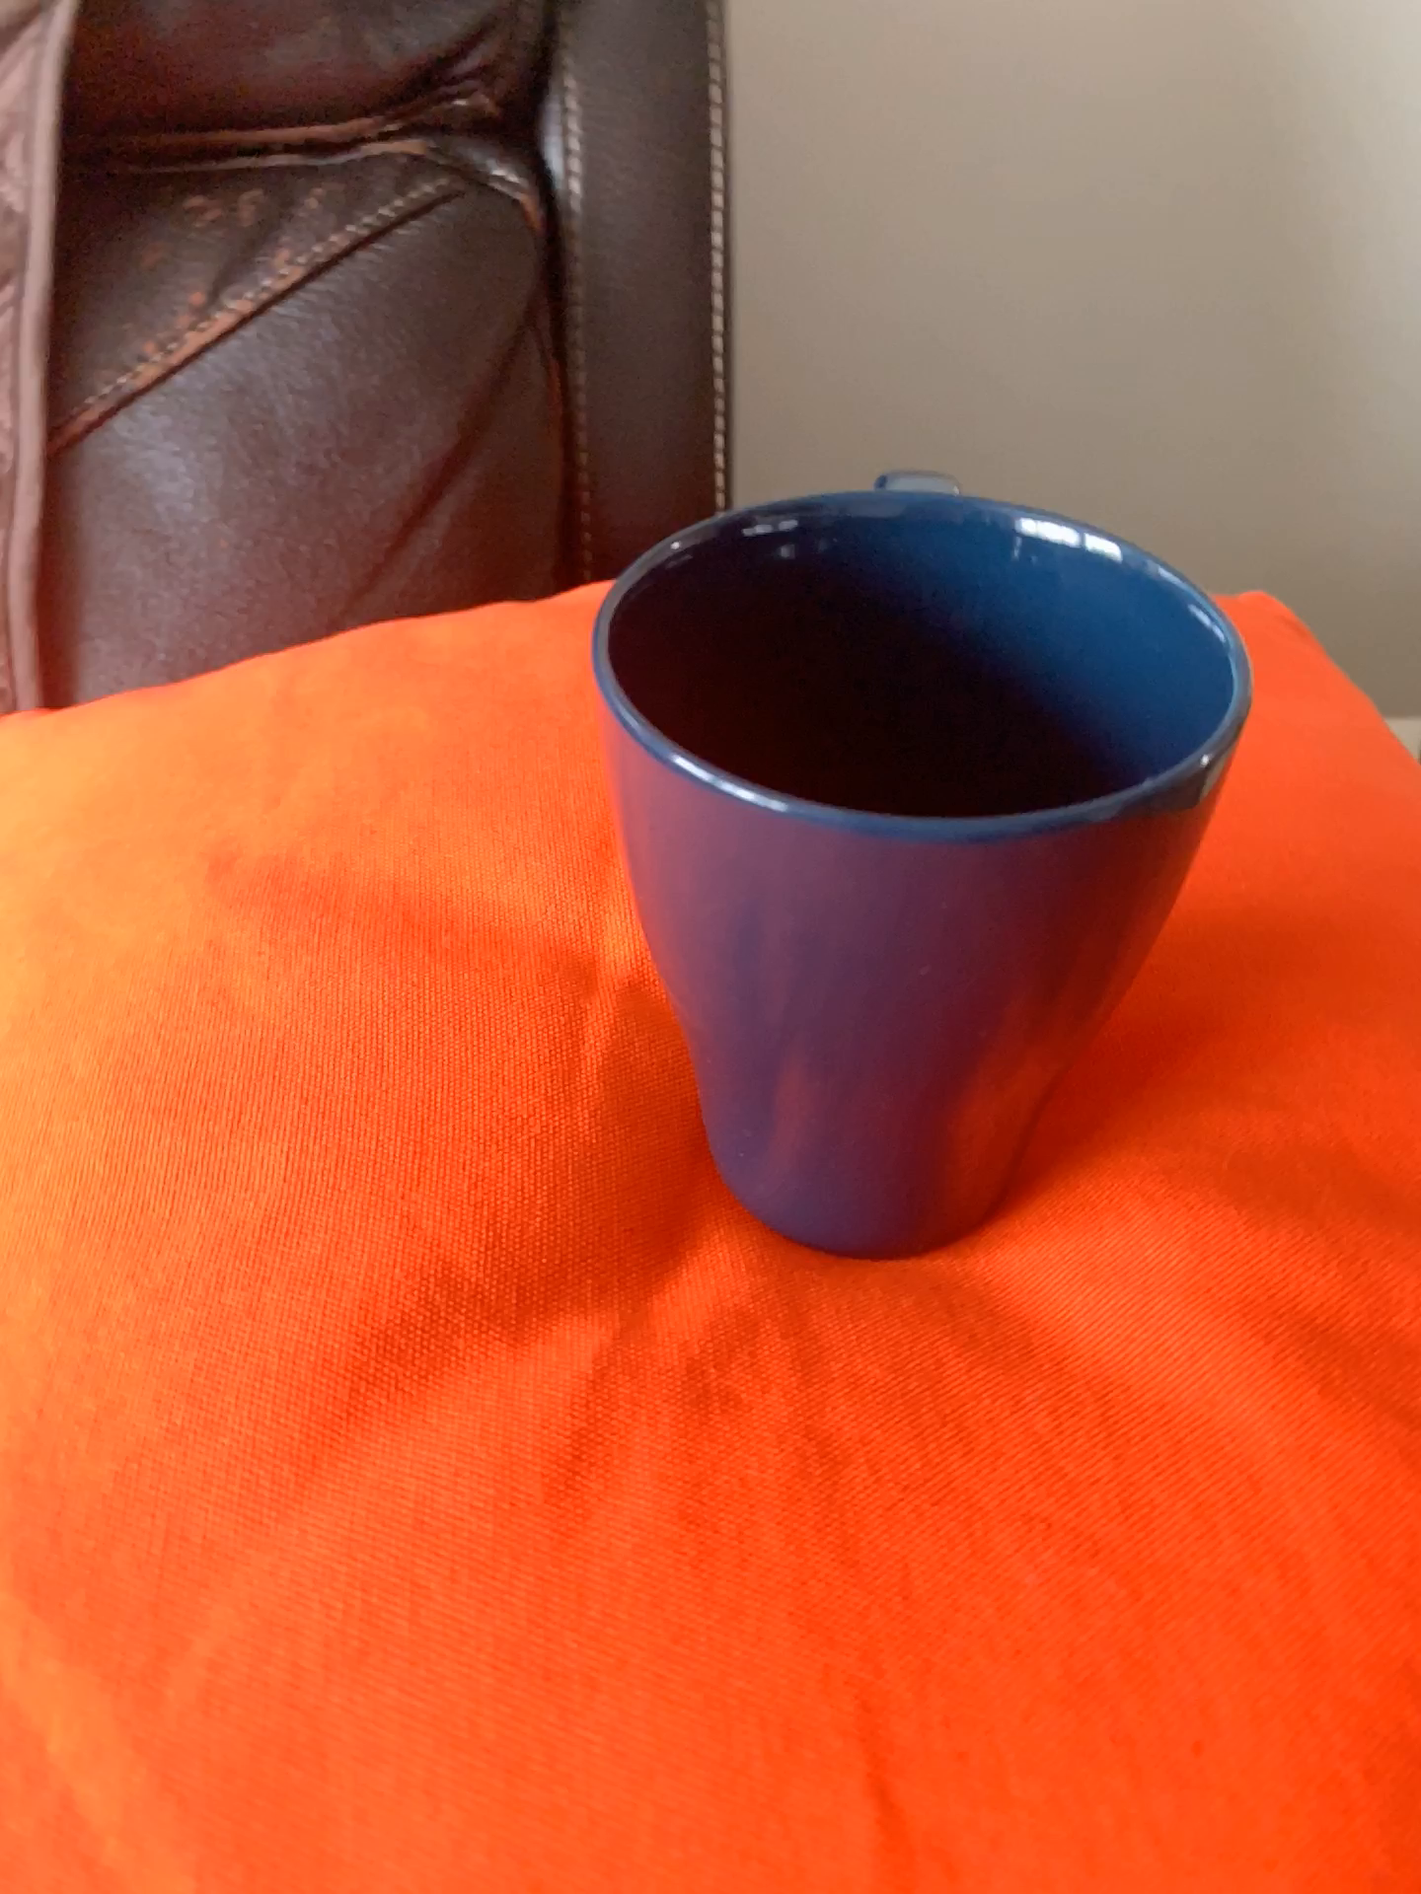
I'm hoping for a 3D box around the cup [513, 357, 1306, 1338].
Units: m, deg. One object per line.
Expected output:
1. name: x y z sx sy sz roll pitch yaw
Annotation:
1. cup: 0.028 -0.023 0.219 0.080 0.079 0.121 8 42 6
